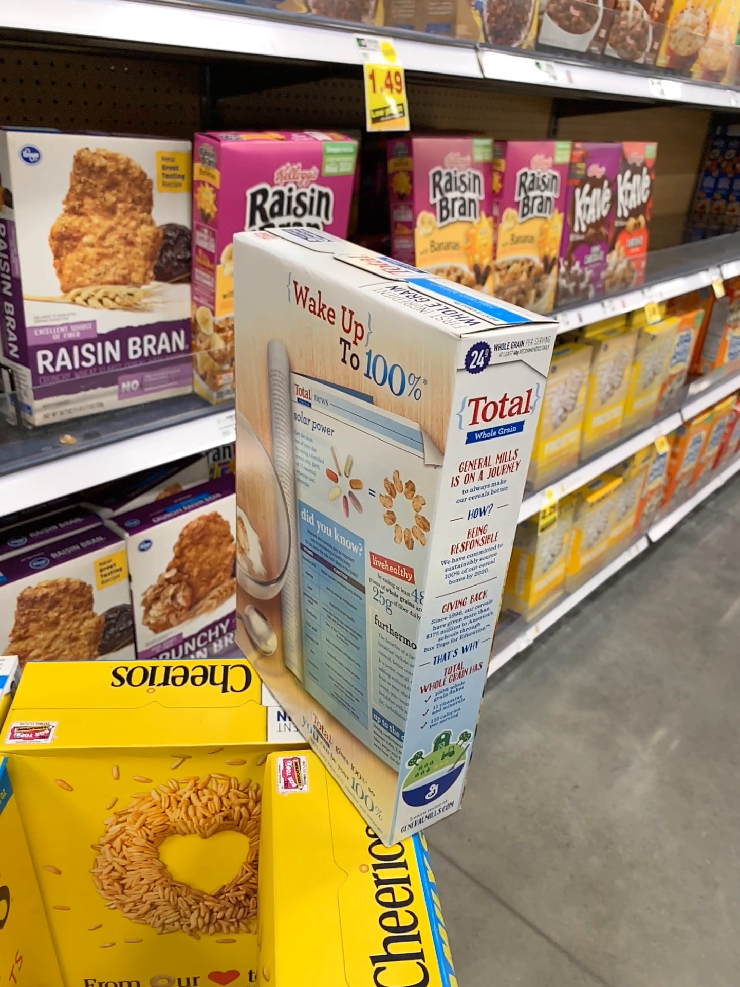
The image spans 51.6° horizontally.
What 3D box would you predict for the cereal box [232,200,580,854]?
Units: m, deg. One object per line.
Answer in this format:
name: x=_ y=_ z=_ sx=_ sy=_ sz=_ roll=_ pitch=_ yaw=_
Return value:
cereal box: x=-0.010 y=0.011 z=0.429 sx=0.050 sy=0.298 sz=0.211 roll=-13 pitch=33 yaw=-31
